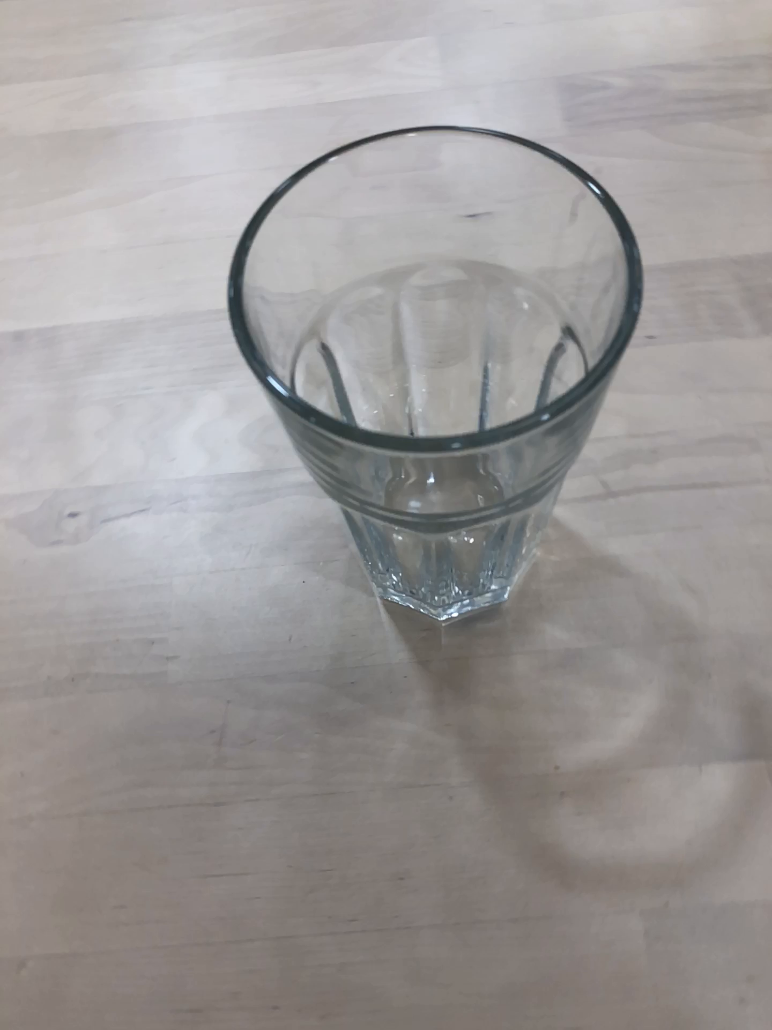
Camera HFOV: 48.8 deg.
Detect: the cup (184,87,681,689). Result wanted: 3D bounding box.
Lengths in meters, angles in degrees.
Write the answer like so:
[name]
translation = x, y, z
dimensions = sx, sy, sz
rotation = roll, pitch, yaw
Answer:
[cup]
translation = 0.019, -0.021, 0.246
dimensions = 0.090, 0.159, 0.090
rotation = -2, 64, 4
